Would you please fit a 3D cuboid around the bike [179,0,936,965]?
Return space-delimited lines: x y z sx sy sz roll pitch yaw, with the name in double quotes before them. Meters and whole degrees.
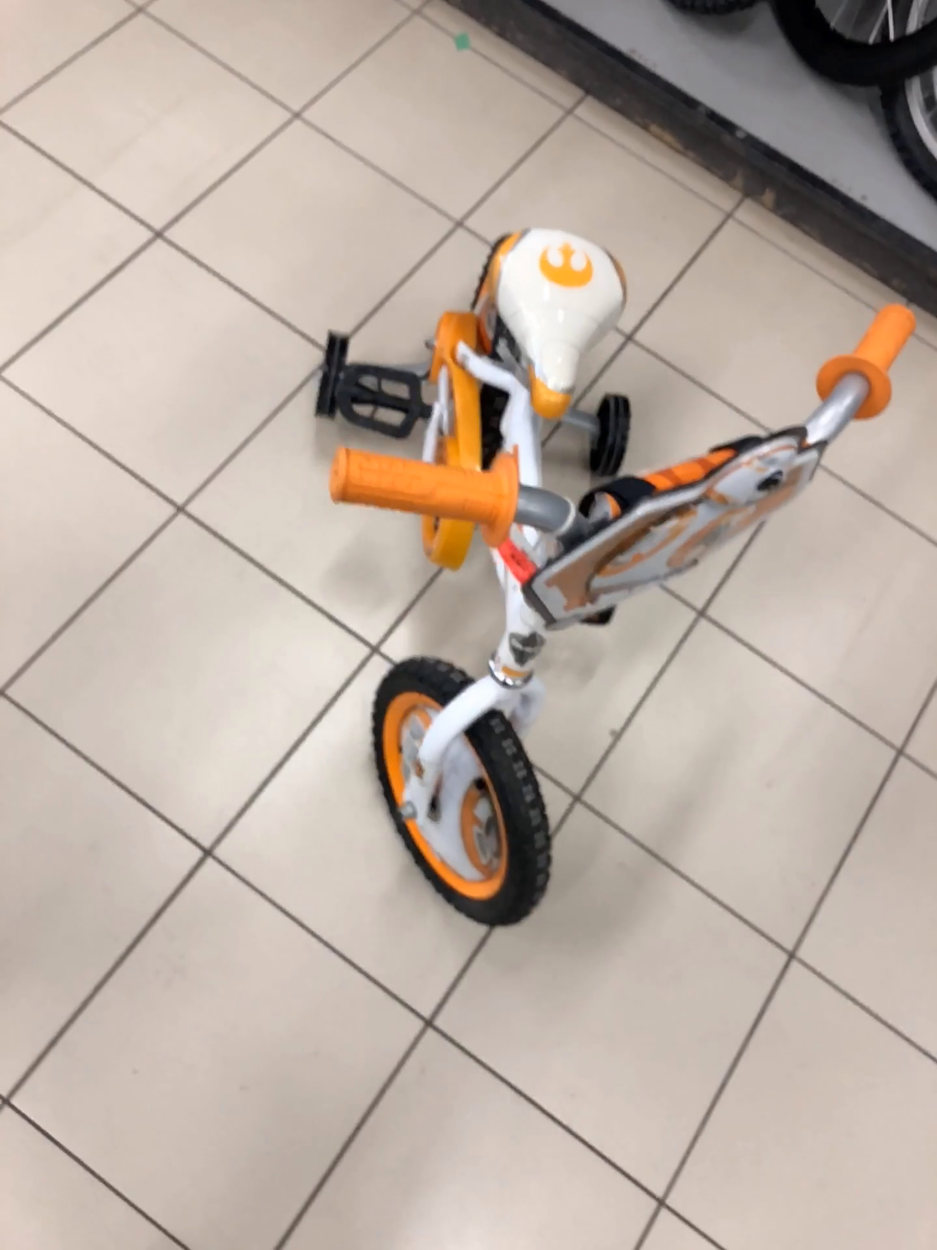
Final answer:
"bike" 0.040 -0.154 0.982 0.435 0.716 0.816 2 69 -8
